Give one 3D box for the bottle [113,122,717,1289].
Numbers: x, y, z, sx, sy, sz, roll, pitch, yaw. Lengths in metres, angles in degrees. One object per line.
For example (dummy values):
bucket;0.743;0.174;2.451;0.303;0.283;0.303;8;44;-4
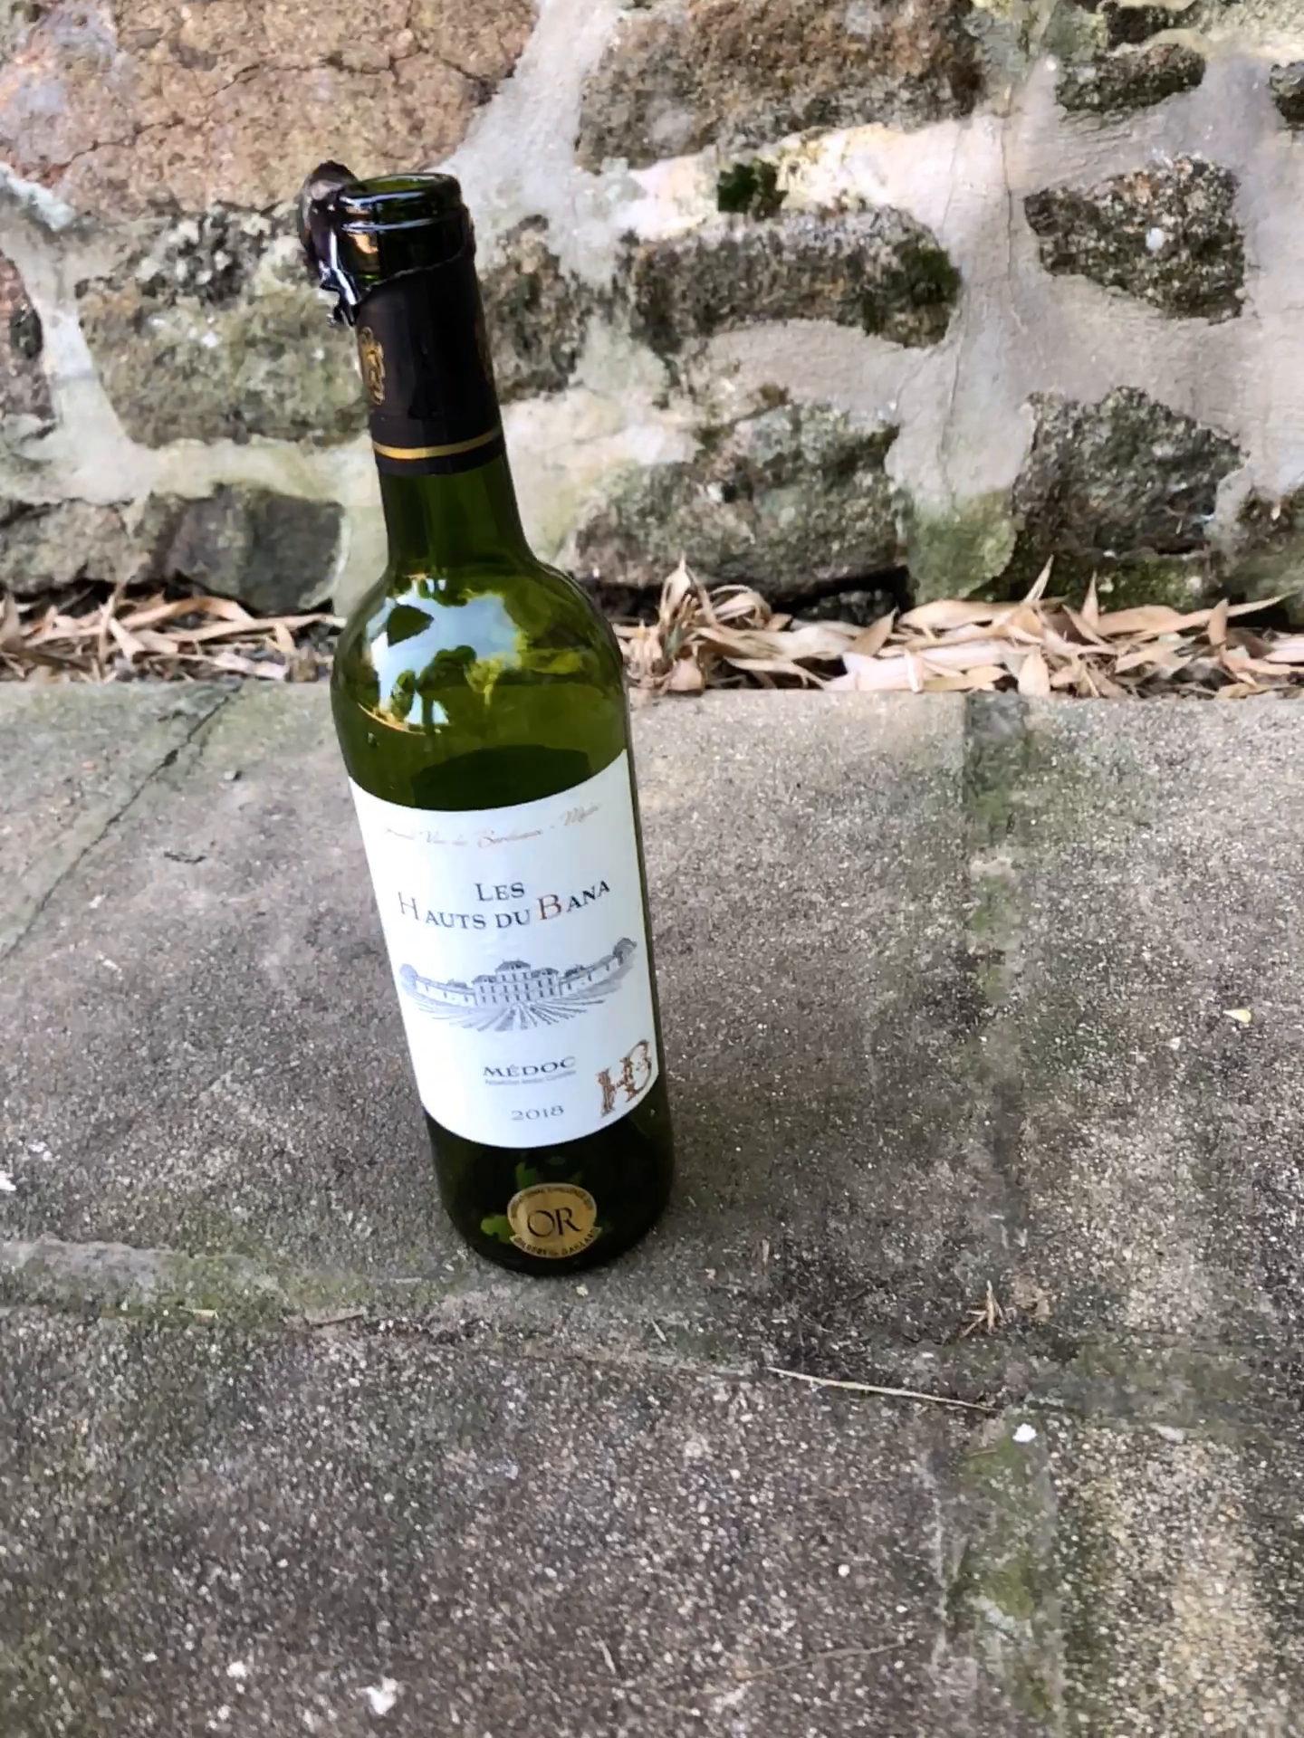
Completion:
bottle;-0.041;-0.023;0.373;0.090;0.288;0.080;-6;34;0
